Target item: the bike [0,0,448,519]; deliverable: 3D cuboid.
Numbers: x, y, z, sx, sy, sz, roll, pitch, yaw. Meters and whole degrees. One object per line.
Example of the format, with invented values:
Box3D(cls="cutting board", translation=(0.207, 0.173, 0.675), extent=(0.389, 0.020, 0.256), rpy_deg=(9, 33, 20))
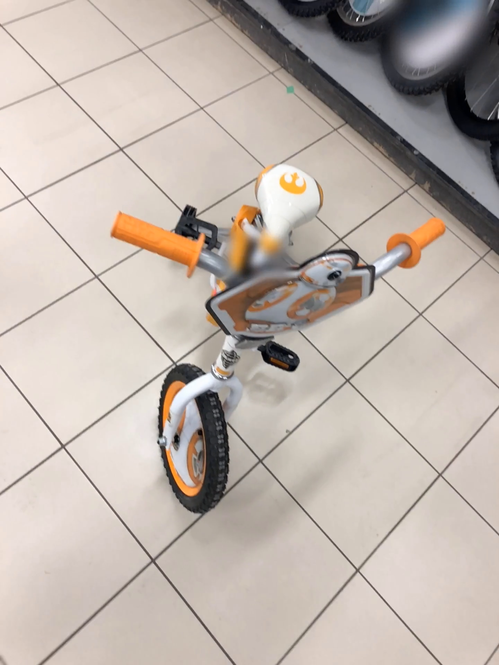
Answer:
Box3D(cls="bike", translation=(-0.018, -0.126, 1.046), extent=(0.435, 0.715, 0.817), rpy_deg=(13, 63, -4))
